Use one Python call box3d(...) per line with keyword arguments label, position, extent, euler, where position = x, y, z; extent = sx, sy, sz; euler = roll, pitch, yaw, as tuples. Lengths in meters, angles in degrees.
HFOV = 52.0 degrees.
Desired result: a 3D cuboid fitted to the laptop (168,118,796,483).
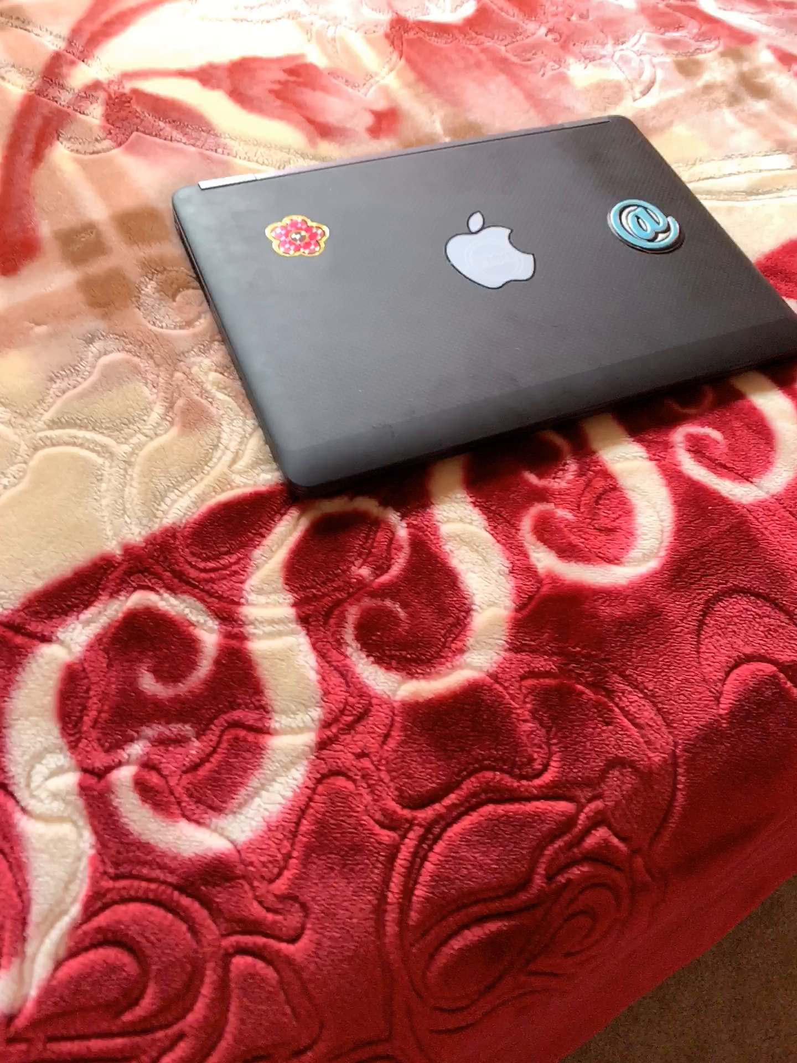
box3d(label="laptop", position=(0.051, -0.147, 0.451), extent=(0.299, 0.001, 0.209), euler=(-17, 62, -16))
